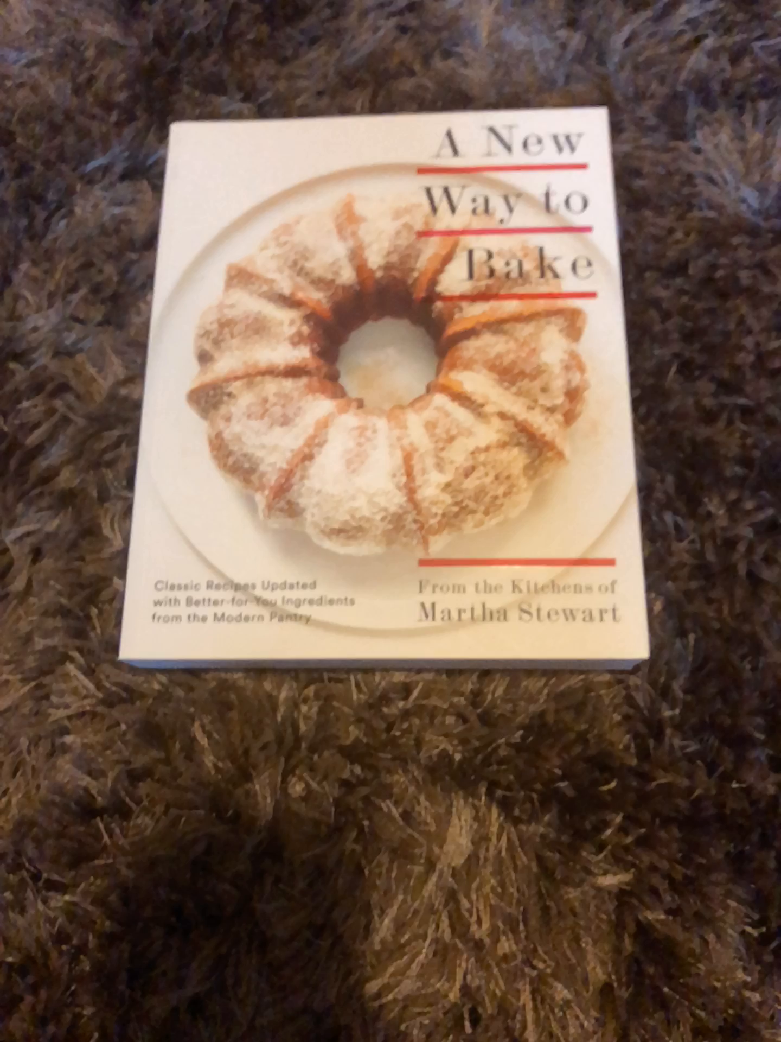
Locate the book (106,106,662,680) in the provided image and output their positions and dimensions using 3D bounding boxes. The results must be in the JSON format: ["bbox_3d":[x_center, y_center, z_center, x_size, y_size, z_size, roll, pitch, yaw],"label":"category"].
[{"bbox_3d":[-0.003,-0.055,0.354,0.192,0.040,0.229,-1,73,2],"label":"book"}]
